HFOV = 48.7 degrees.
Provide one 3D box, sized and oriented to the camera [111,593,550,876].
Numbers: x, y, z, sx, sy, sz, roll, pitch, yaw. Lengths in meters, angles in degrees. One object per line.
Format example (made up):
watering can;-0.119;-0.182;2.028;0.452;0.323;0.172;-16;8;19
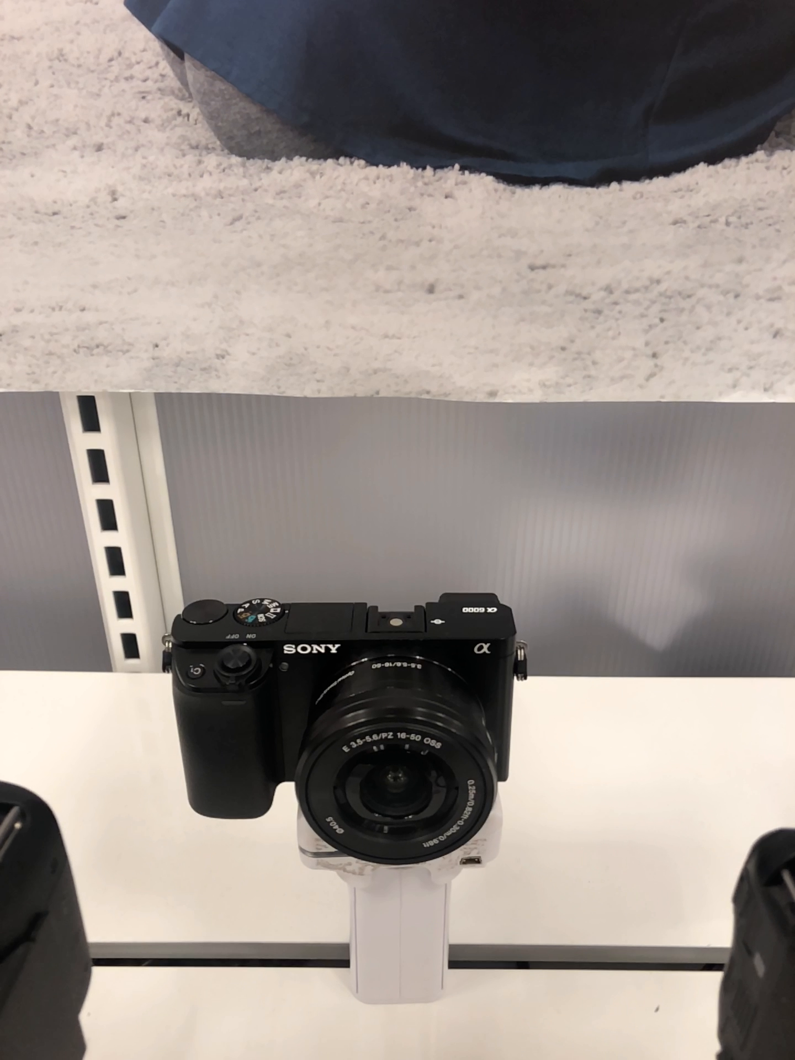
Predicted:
camera;-0.019;0.063;0.284;0.120;0.058;0.068;0;29;-1
